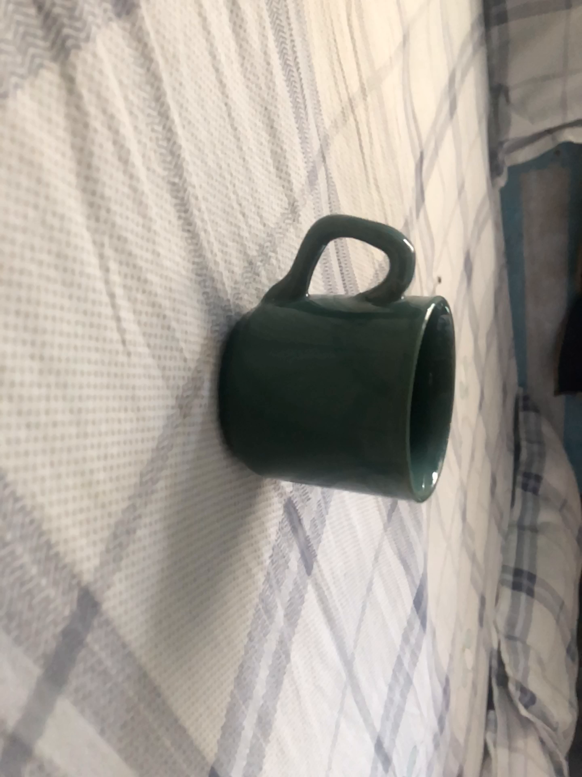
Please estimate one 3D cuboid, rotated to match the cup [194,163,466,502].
[{"bbox_3d":[0.017,-0.011,0.195,0.070,0.060,0.080,13,78,-67],"label":"cup"}]
